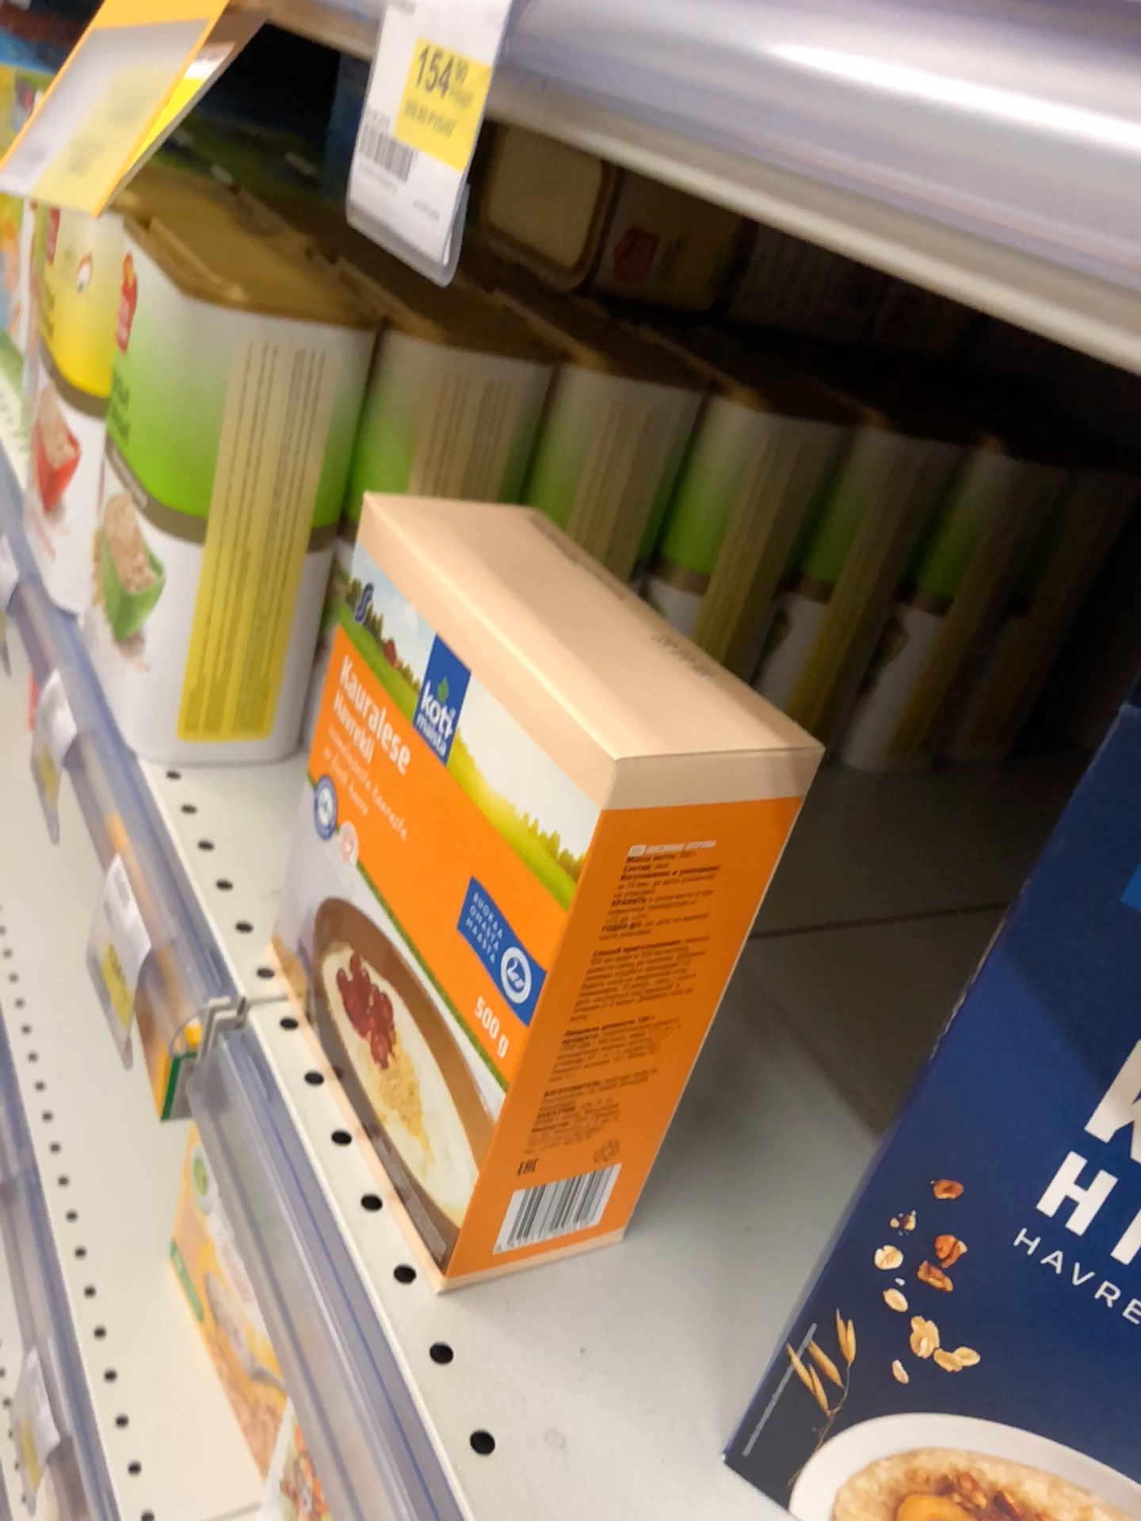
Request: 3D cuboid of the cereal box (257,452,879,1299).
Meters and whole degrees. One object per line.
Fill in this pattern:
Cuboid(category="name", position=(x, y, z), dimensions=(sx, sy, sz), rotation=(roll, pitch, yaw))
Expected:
Cuboid(category="cereal box", position=(-0.019, 0.024, 0.367), dimensions=(0.070, 0.169, 0.161), rotation=(-2, 33, -33))
